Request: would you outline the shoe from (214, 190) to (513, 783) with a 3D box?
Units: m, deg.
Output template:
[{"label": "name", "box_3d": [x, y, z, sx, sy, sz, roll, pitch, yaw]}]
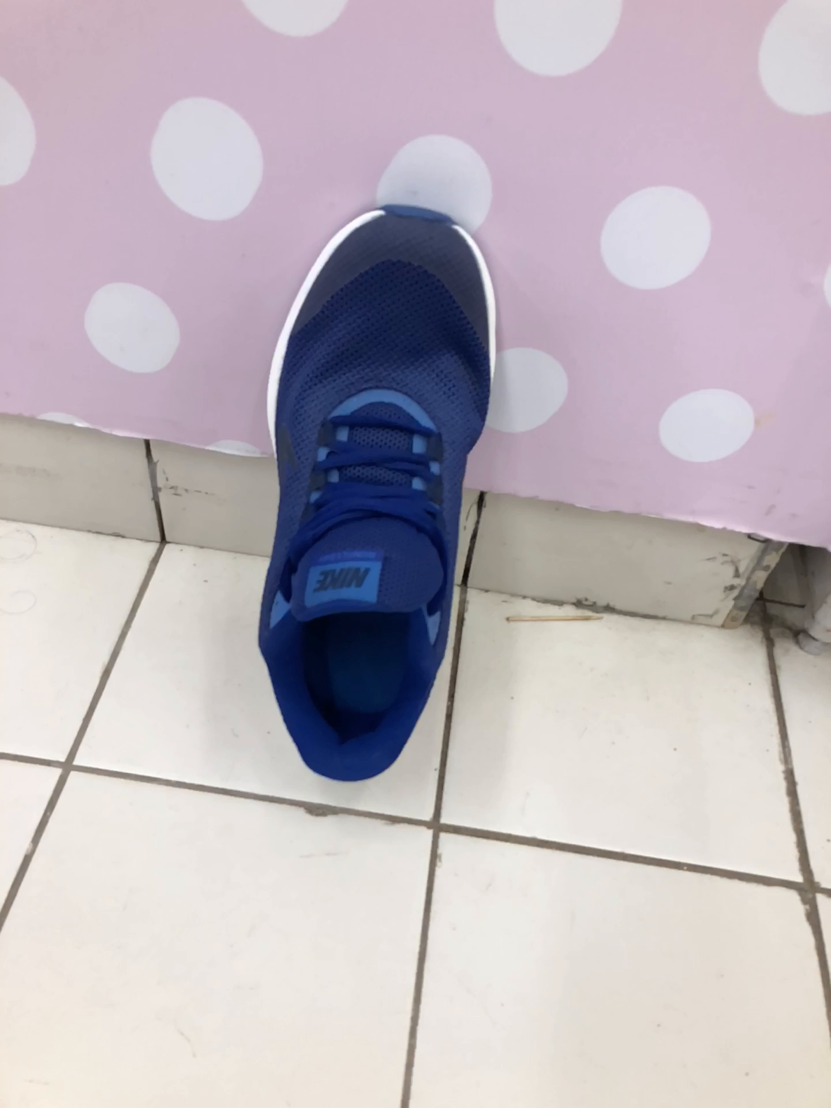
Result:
[{"label": "shoe", "box_3d": [-0.024, -0.030, 0.440, 0.100, 0.240, 0.110, 7, 5, -2]}]
